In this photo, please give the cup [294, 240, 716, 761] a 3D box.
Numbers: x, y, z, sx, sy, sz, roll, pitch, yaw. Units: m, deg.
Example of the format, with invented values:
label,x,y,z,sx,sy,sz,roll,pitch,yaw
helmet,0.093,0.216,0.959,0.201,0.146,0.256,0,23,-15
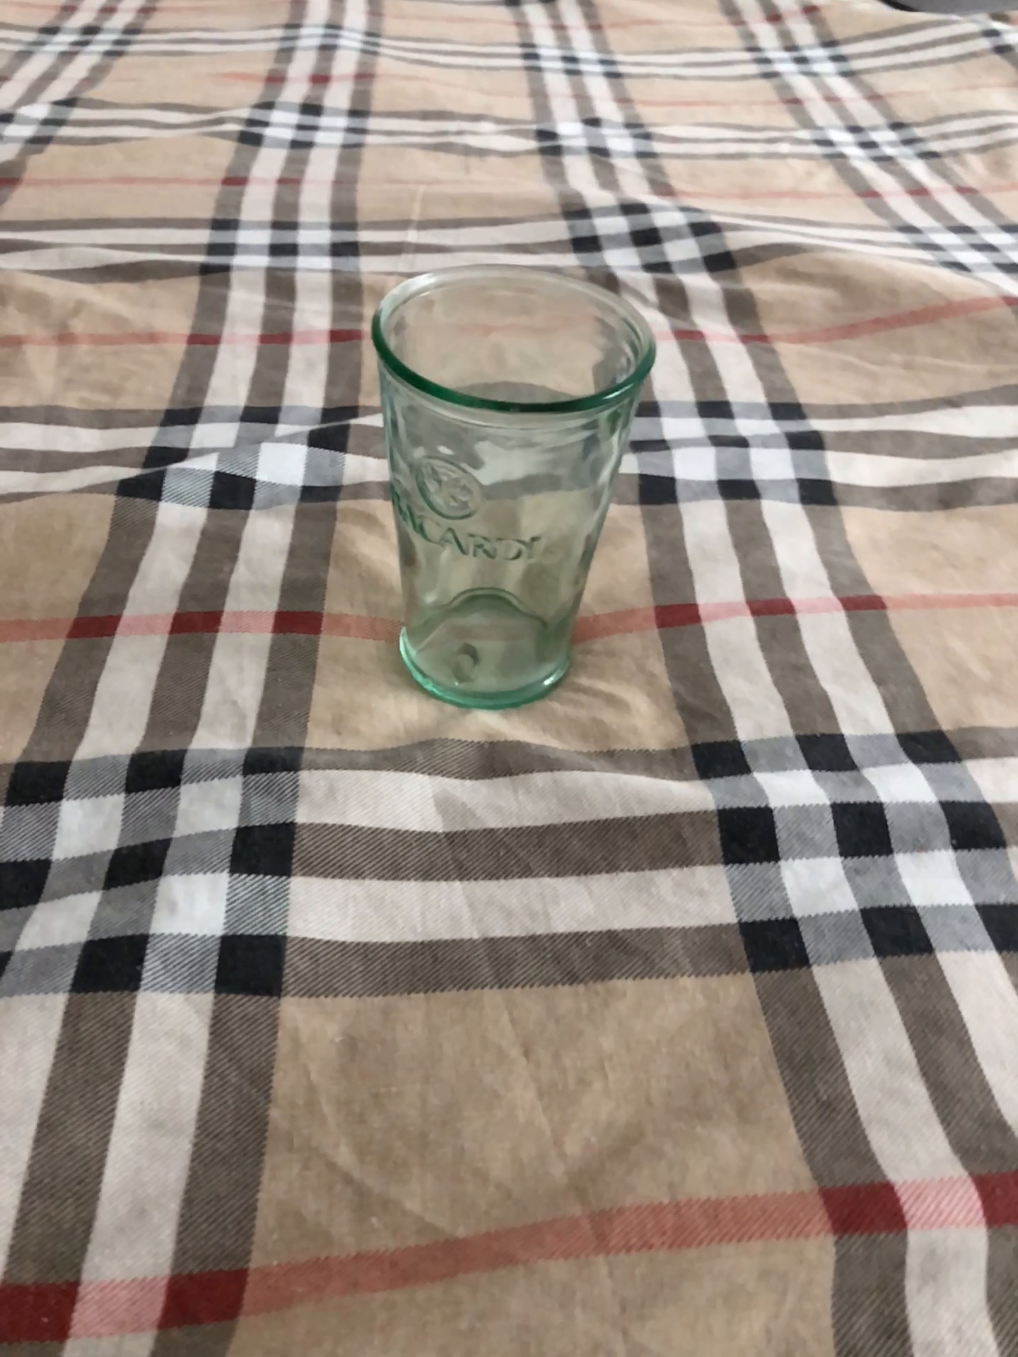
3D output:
label,x,y,z,sx,sy,sz,roll,pitch,yaw
cup,-0.002,-0.056,0.344,0.085,0.112,0.082,3,42,-2
